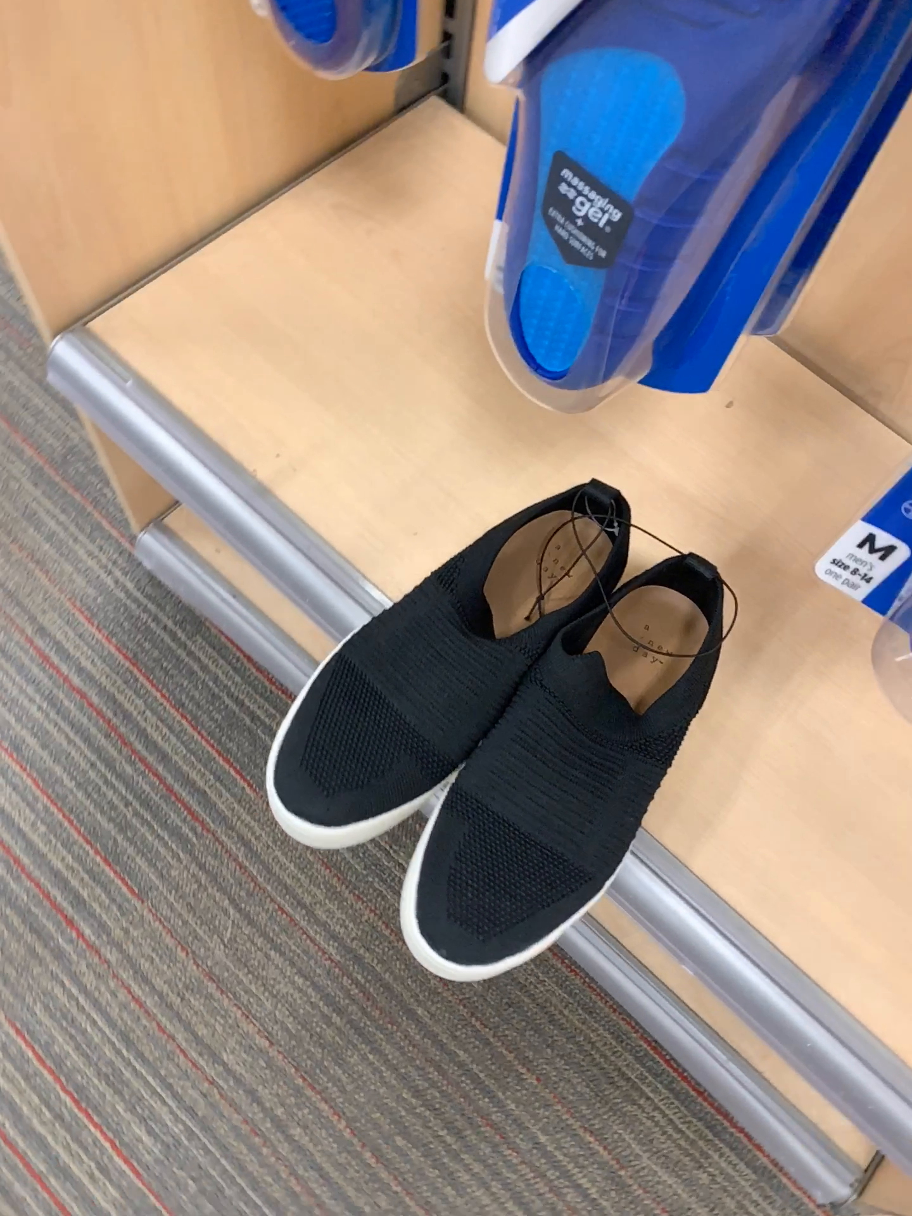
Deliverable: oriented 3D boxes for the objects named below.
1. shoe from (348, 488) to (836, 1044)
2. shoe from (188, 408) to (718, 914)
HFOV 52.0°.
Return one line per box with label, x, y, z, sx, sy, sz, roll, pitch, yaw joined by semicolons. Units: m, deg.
shoe;0.071;0.078;0.493;0.100;0.100;0.270;38;68;10
shoe;0.004;0.025;0.507;0.270;0.100;0.100;-40;76;-20
